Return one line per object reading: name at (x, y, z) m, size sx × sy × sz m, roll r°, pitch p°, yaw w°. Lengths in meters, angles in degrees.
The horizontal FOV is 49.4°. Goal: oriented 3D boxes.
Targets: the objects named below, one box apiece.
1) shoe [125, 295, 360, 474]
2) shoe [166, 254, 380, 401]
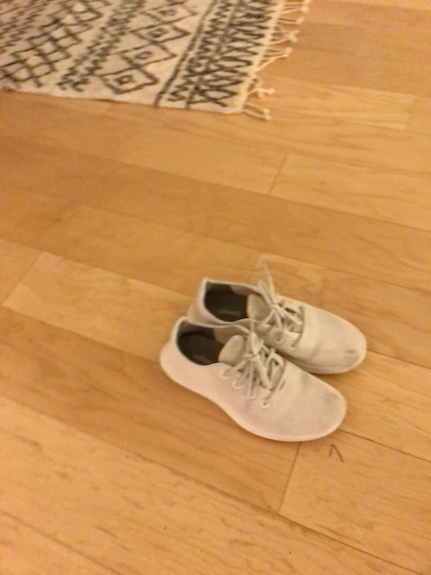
shoe at (0.034, 0.122, 0.635) m, size 0.280 × 0.070 × 0.121 m, roll 20°, pitch 59°, yaw 20°
shoe at (0.081, 0.051, 0.677) m, size 0.270 × 0.070 × 0.121 m, roll 16°, pitch 58°, yaw 18°
